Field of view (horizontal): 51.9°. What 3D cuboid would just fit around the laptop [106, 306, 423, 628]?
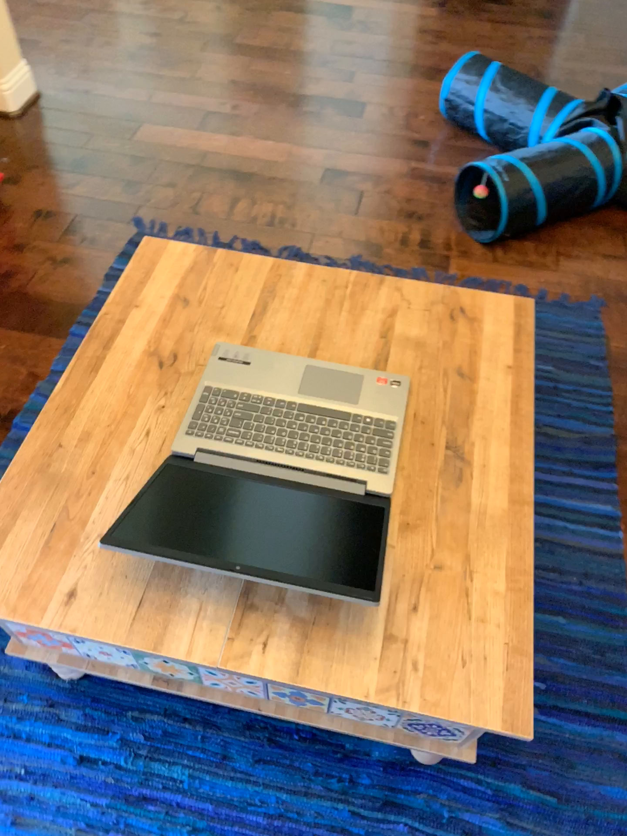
[{"bbox_3d":[-0.040,0.042,0.967,0.346,0.099,0.462,11,50,6],"label":"laptop"}]
